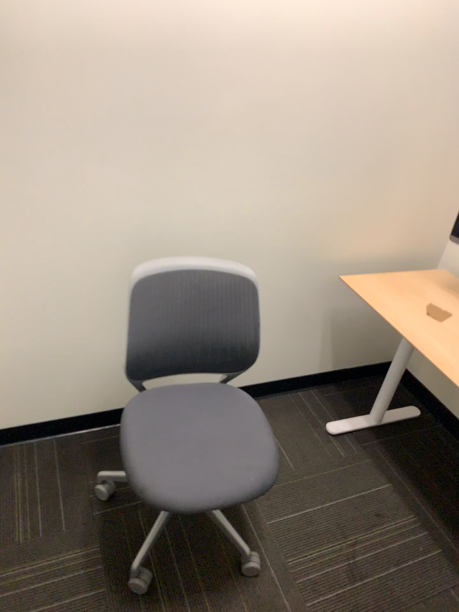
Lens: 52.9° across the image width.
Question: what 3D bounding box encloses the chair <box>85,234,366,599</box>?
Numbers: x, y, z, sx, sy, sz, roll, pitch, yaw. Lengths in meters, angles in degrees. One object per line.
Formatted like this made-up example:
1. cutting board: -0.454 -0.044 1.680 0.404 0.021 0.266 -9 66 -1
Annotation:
1. chair: -0.144 0.341 1.742 0.720 0.885 0.905 0 33 -15
